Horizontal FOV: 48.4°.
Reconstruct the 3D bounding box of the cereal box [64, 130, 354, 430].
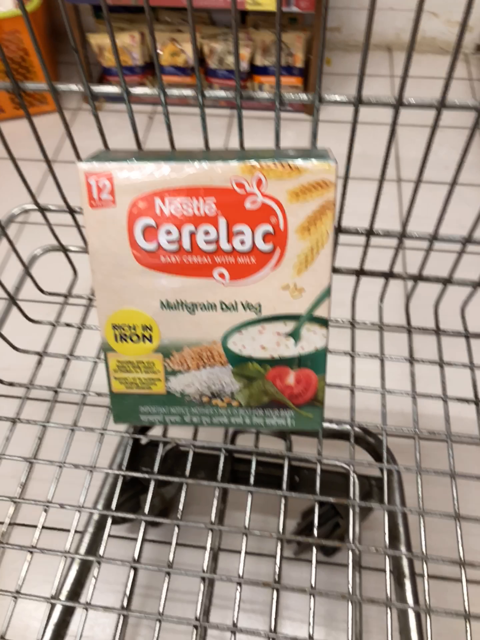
[{"bbox_3d":[-0.017,-0.023,0.354,0.160,0.189,0.050,1,24,3],"label":"cereal box"}]
